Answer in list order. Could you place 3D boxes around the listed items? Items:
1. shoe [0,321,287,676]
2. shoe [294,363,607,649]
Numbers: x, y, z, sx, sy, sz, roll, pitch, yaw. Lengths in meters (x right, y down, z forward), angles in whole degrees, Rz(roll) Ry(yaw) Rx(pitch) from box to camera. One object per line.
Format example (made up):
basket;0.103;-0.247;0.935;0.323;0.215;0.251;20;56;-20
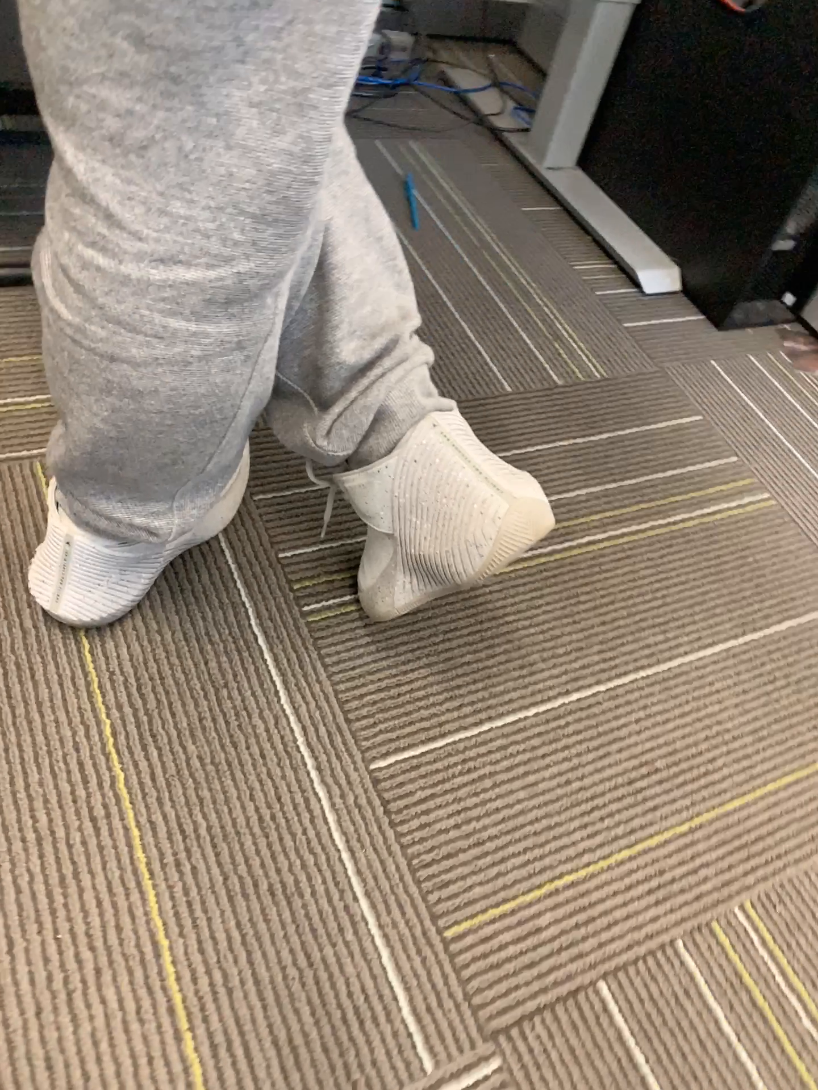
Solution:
shoe;-0.246;-0.052;0.774;0.130;0.149;0.281;26;49;5
shoe;0.014;-0.013;0.681;0.120;0.279;0.120;-39;91;-21
